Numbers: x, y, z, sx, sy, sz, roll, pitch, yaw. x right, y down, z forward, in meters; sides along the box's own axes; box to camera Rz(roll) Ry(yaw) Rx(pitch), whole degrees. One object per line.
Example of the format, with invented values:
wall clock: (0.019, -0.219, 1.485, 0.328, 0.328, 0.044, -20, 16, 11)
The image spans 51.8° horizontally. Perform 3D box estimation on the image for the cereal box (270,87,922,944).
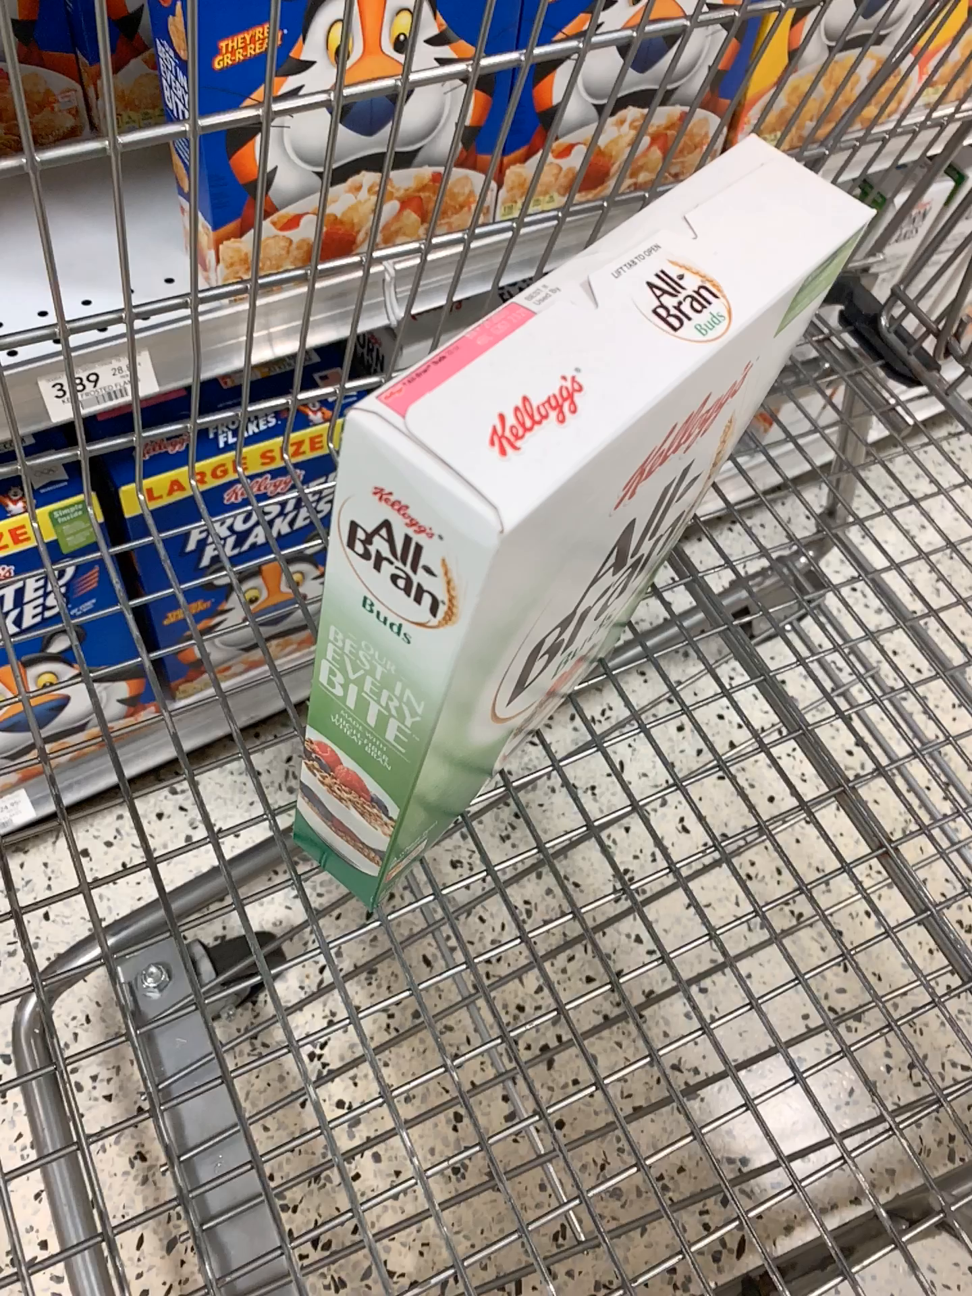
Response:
cereal box: (0.015, -0.020, 0.371, 0.050, 0.298, 0.201, 40, 59, 11)
